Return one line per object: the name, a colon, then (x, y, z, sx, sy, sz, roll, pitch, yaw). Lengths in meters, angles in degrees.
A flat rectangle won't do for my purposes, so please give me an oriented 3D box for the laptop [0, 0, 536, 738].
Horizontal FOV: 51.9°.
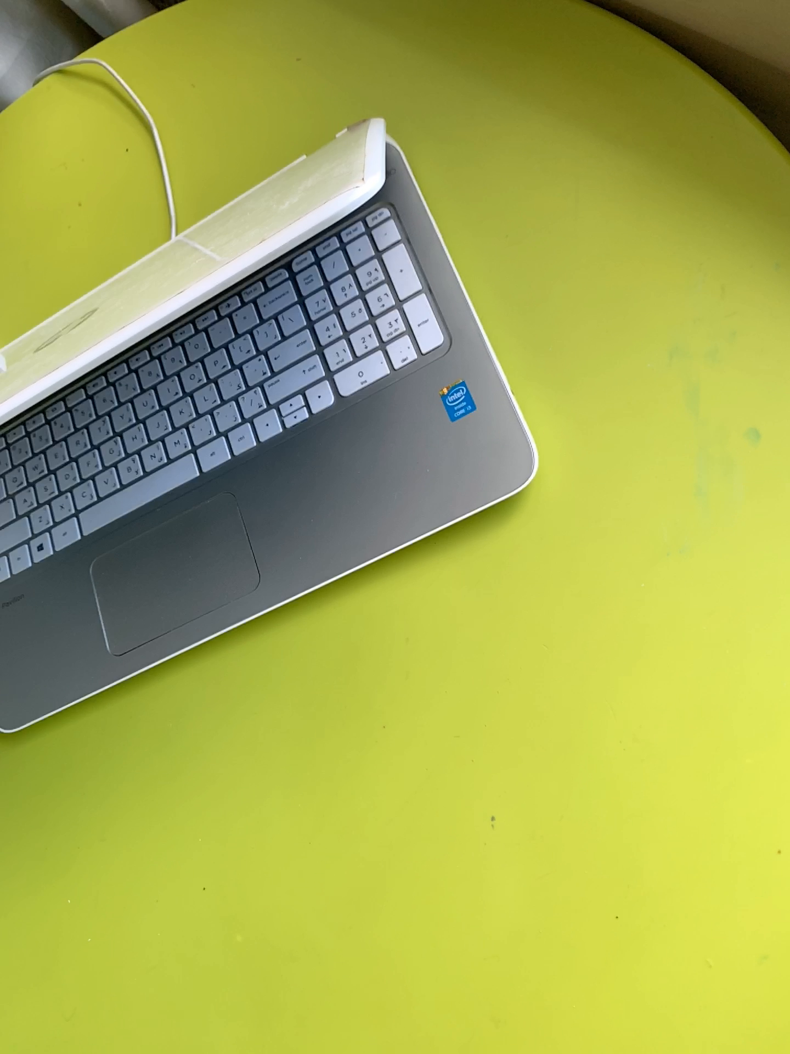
laptop: (-0.158, -0.075, 0.425, 0.367, 0.163, 0.244, -26, 69, 14)
